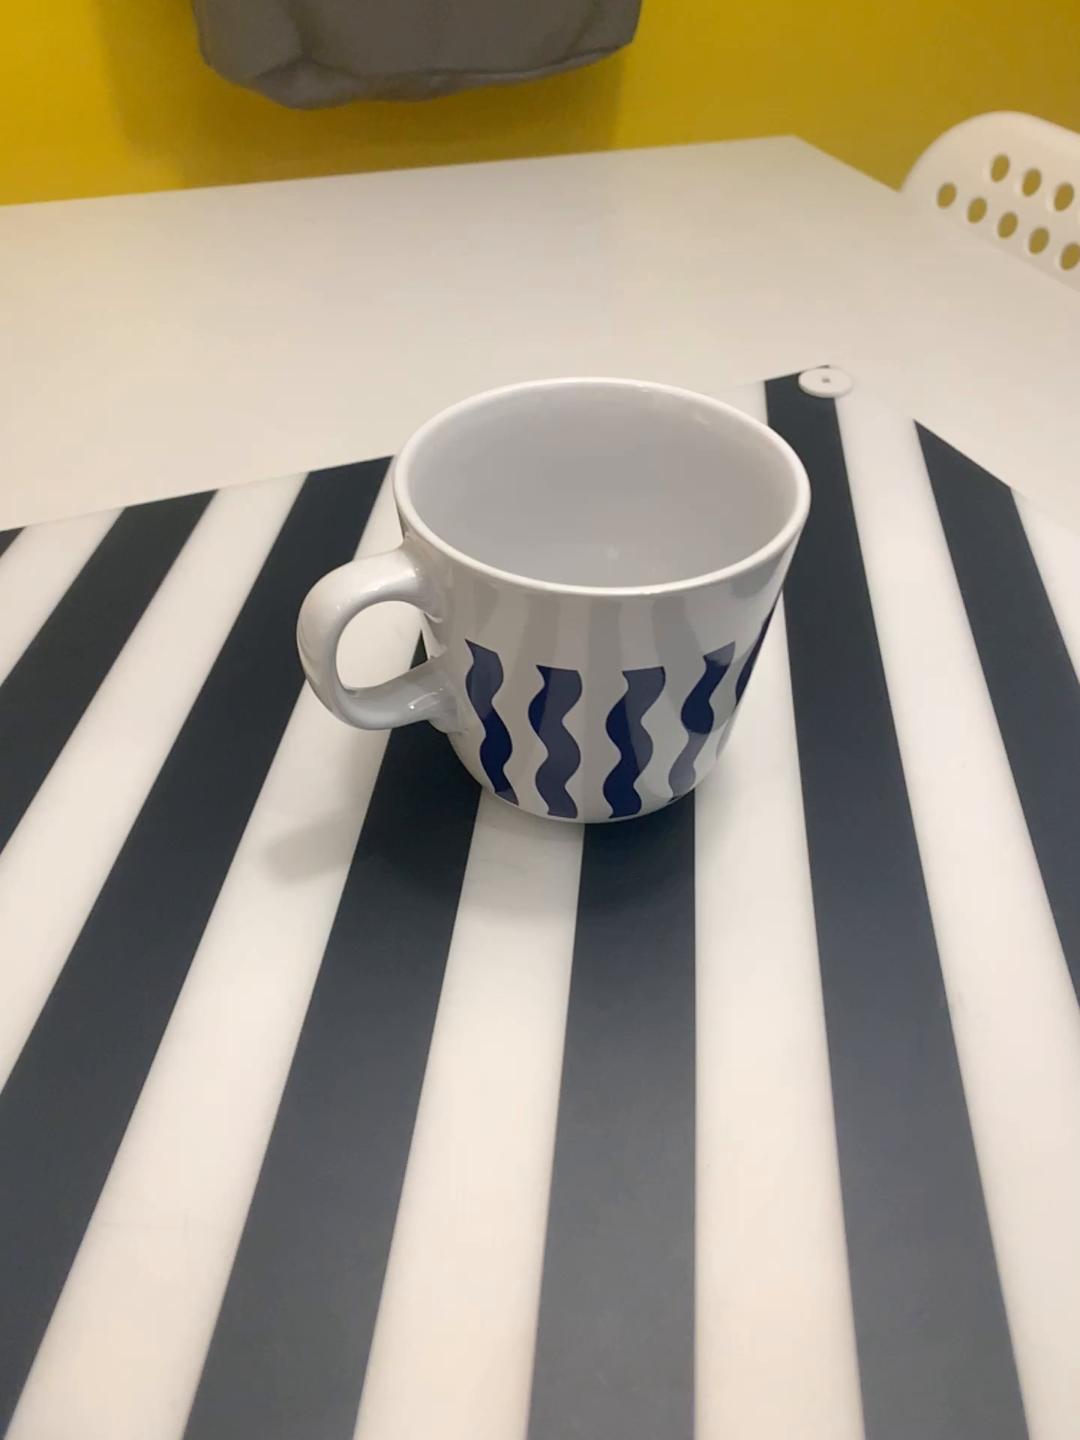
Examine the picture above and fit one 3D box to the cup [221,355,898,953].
[{"bbox_3d":[0.000,-0.022,0.253,0.110,0.070,0.090,-18,46,-21],"label":"cup"}]
